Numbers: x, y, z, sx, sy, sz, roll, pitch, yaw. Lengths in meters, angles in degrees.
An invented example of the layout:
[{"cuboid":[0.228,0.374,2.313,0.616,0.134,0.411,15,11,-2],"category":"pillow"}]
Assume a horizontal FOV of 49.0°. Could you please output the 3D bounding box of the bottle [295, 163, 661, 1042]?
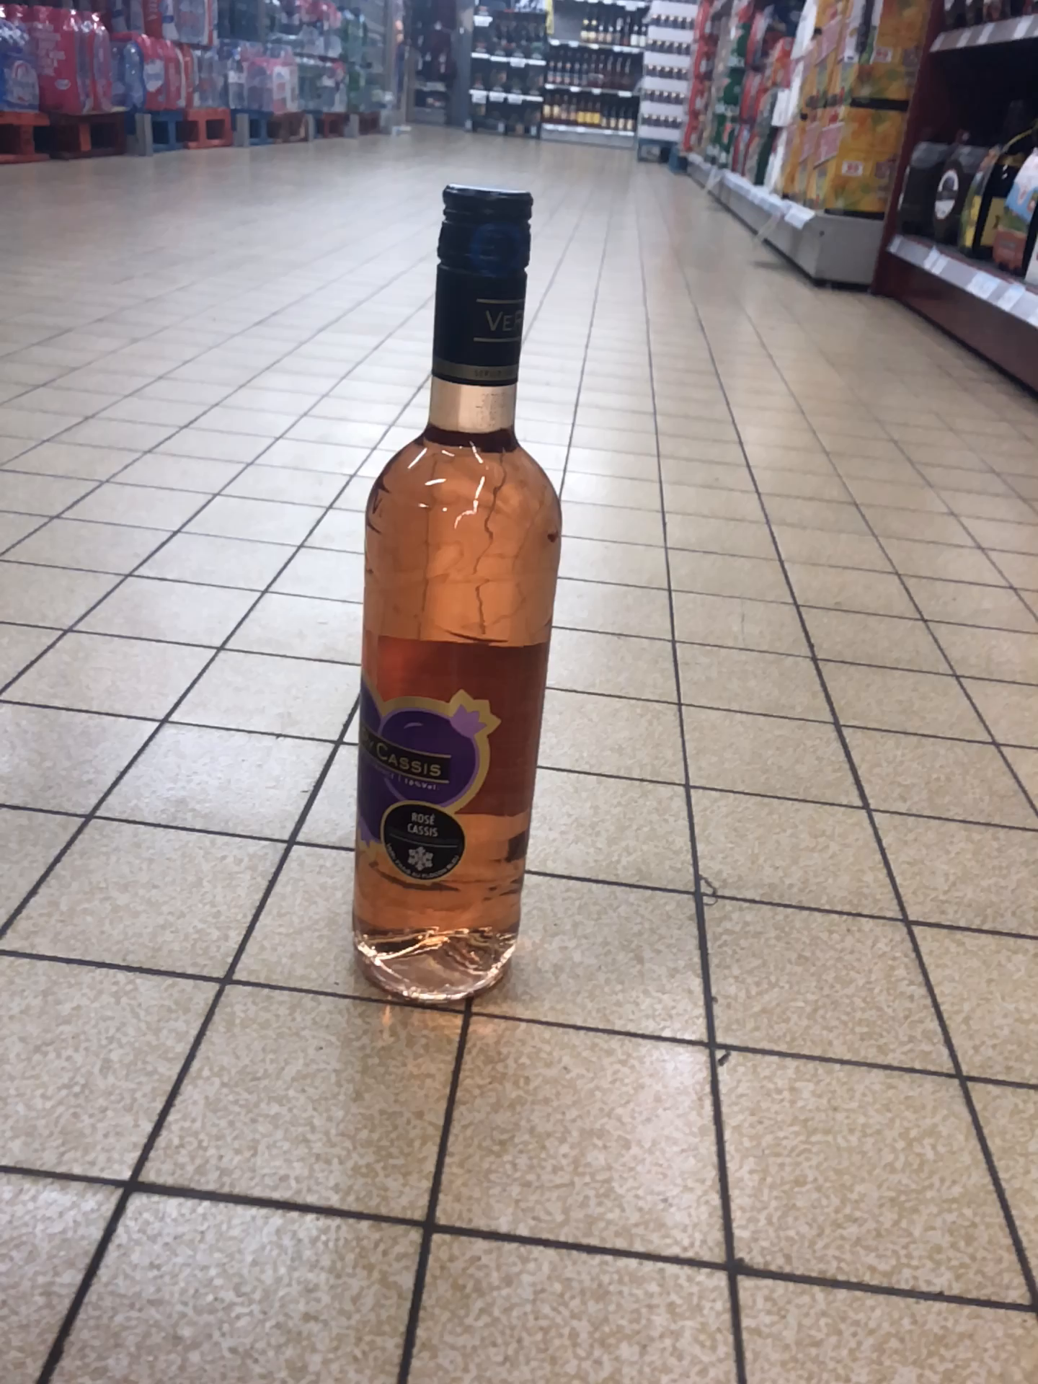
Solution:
[{"cuboid":[-0.024,-0.026,0.420,0.080,0.298,0.080,5,26,-2],"category":"bottle"}]
